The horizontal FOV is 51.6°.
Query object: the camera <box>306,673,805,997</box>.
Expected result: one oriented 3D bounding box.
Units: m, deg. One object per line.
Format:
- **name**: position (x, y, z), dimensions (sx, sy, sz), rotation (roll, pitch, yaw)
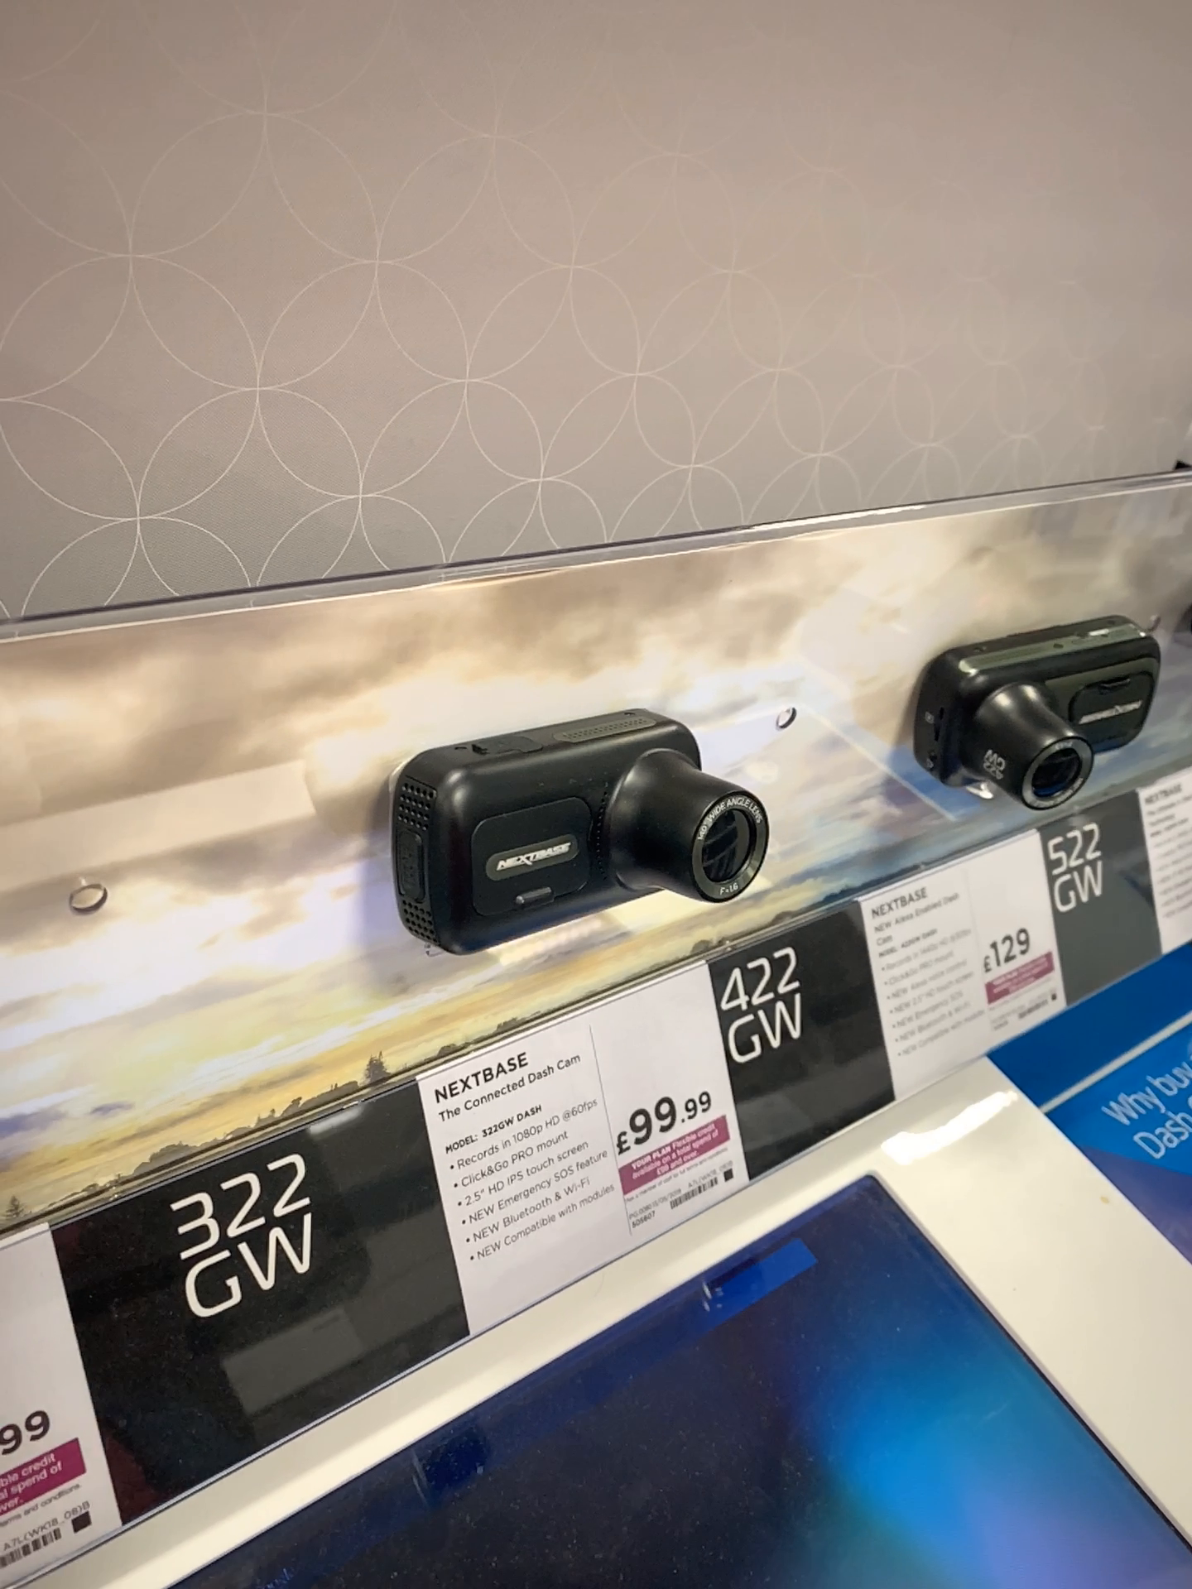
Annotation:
- **camera**: position (-0.009, 0.003, 0.286), dimensions (0.090, 0.040, 0.070), rotation (-13, 21, -33)
